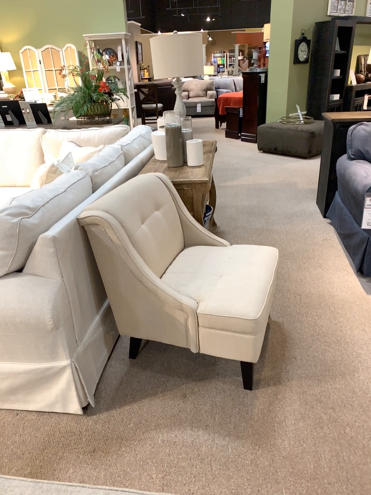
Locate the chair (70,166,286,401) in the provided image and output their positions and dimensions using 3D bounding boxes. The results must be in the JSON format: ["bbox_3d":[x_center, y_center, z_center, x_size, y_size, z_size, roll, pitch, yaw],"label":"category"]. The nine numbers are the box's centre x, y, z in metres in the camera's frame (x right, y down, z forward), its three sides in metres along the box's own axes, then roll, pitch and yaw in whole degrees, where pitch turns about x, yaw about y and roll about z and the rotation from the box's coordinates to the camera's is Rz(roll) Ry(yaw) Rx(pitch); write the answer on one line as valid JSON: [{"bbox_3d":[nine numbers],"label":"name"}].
[{"bbox_3d":[0.035,0.099,1.858,0.771,0.800,0.716,6,27,18],"label":"chair"}]
